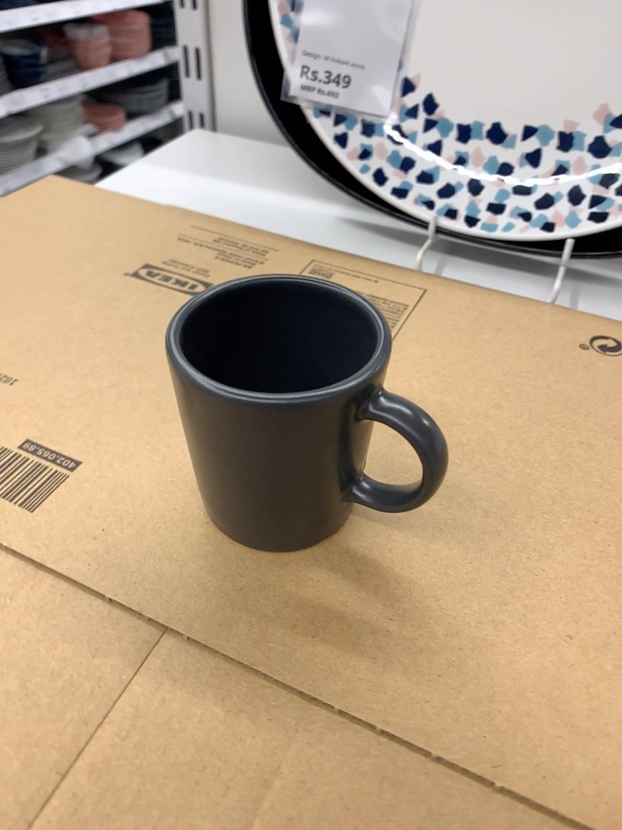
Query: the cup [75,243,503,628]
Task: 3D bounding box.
[{"bbox_3d":[-0.004,0.001,0.181,0.090,0.060,0.060,17,42,16],"label":"cup"}]
